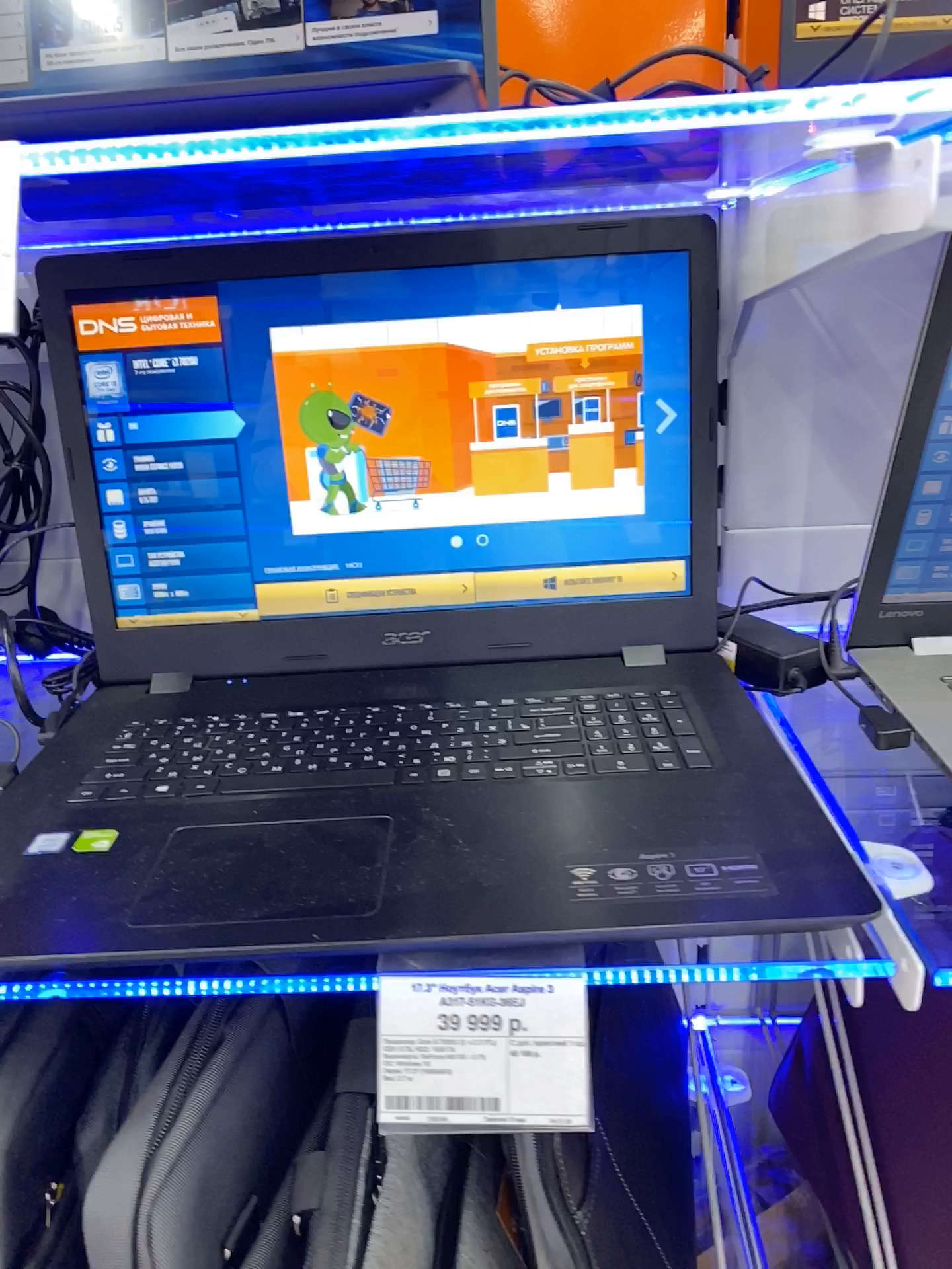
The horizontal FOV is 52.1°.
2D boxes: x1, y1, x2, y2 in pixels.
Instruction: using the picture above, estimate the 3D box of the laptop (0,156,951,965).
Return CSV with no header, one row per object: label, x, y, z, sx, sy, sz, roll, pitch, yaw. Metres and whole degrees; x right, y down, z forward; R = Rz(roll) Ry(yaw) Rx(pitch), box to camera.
laptop,-0.053,-0.062,0.502,0.422,0.273,0.328,-3,20,1
